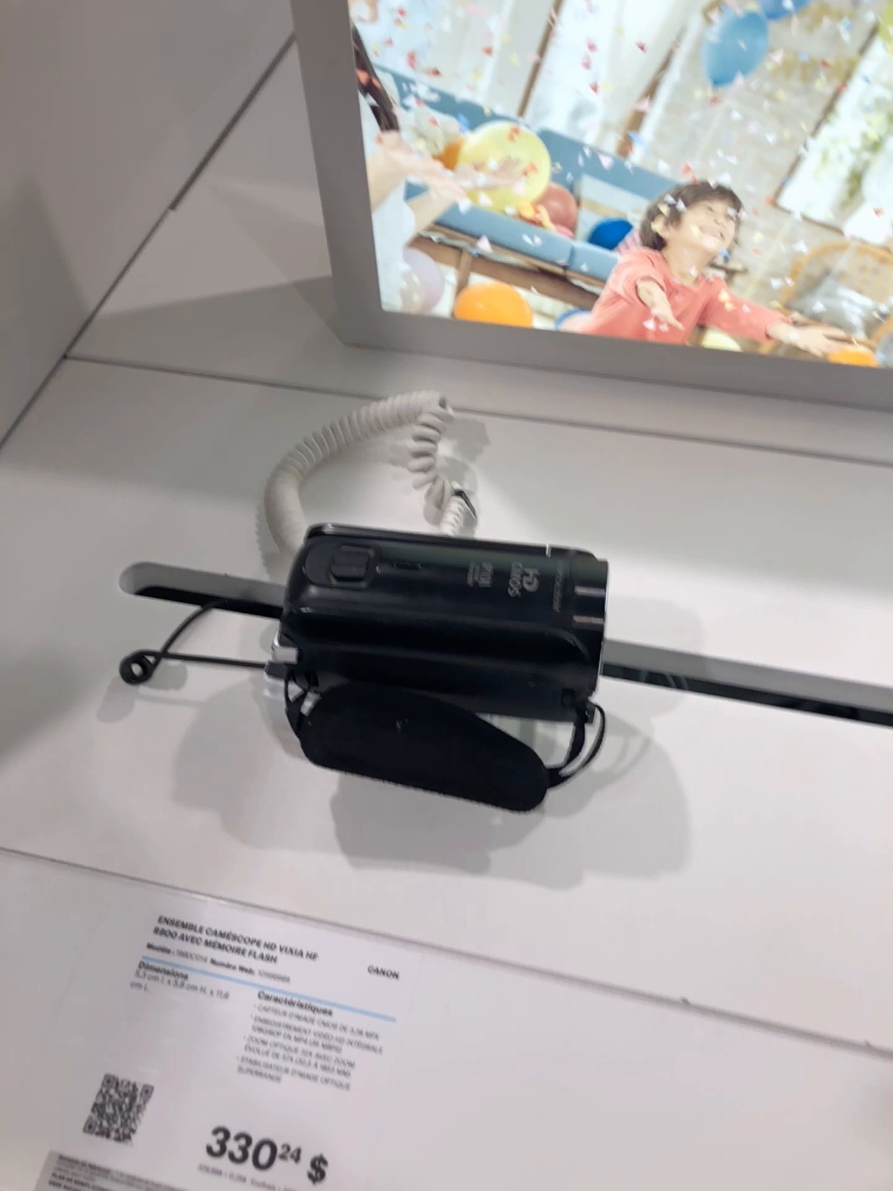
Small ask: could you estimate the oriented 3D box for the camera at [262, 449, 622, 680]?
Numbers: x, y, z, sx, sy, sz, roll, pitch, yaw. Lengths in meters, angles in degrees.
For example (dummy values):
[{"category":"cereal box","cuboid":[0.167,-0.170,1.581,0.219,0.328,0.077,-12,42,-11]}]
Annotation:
[{"category":"camera","cuboid":[0.001,-0.011,0.346,0.113,0.050,0.050,6,54,6]}]
